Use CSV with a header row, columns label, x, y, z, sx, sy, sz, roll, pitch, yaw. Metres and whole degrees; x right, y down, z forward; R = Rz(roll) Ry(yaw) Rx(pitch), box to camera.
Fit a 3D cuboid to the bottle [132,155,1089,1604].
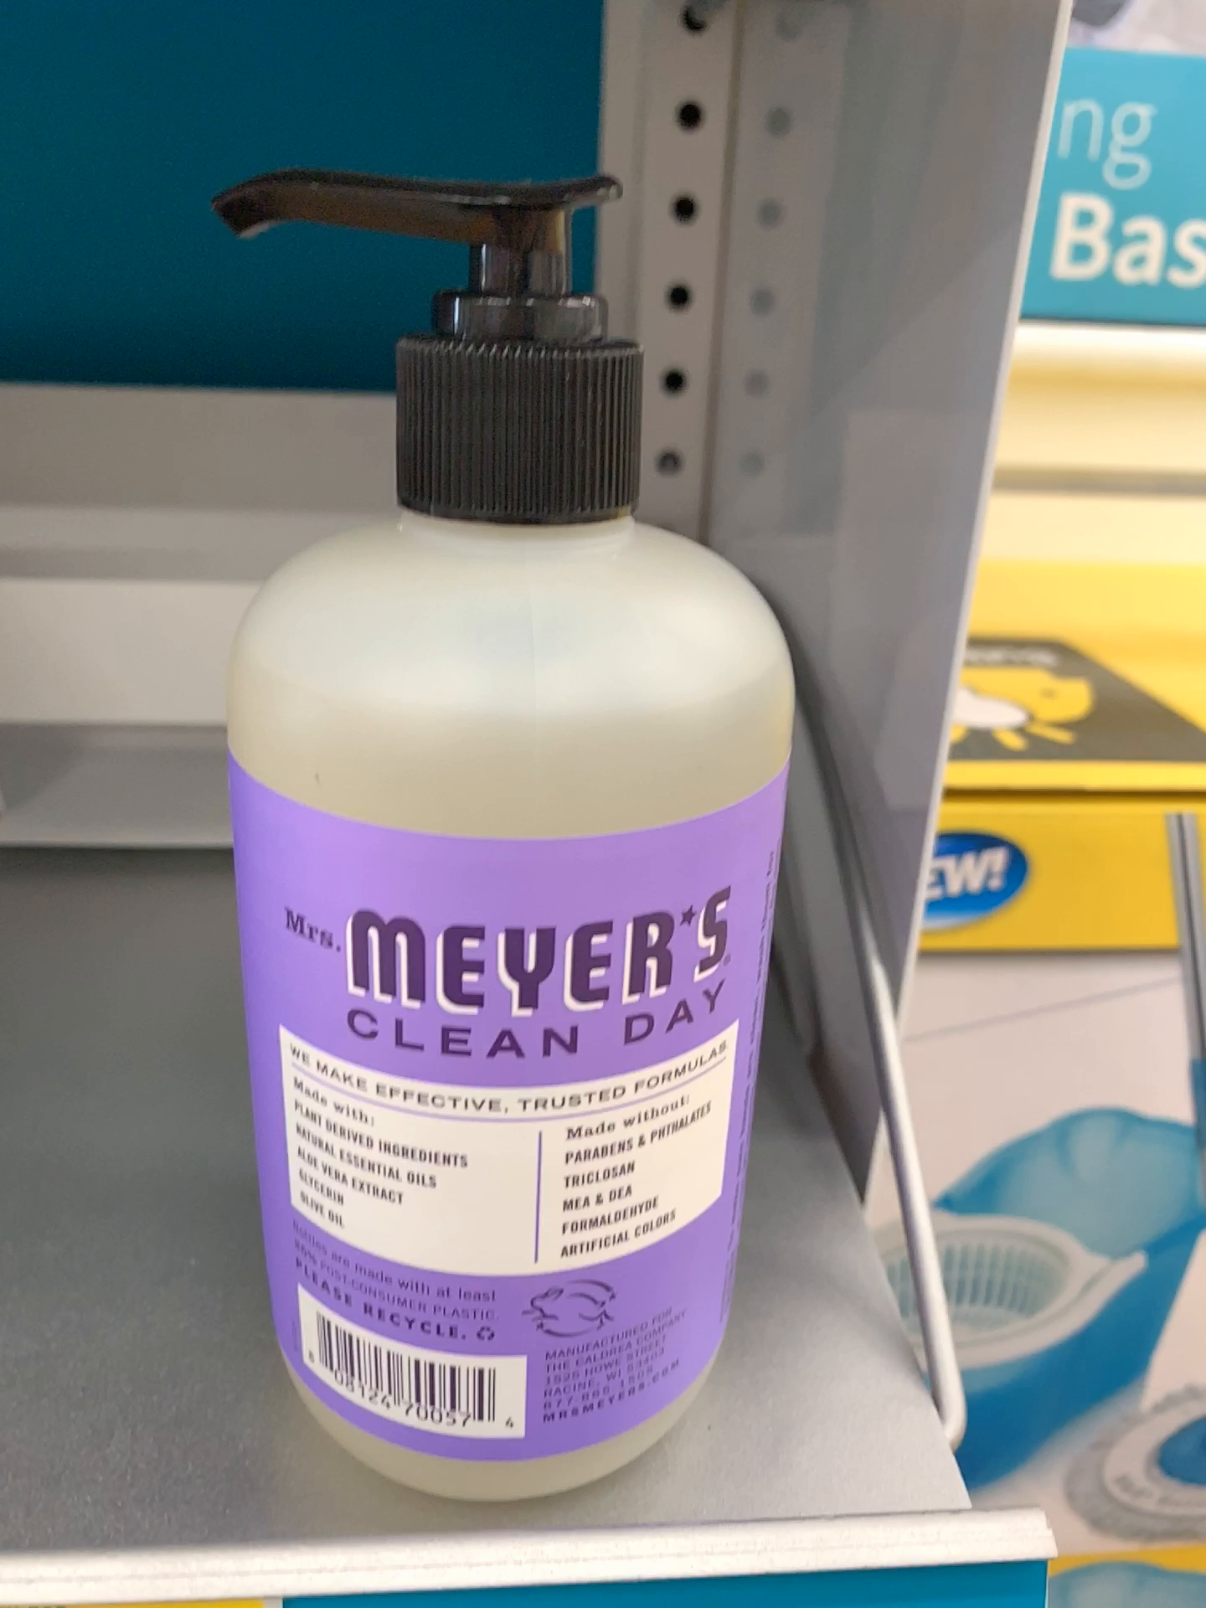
label,x,y,z,sx,sy,sz,roll,pitch,yaw
bottle,-0.007,0.009,0.167,0.080,0.159,0.070,-3,23,-12
